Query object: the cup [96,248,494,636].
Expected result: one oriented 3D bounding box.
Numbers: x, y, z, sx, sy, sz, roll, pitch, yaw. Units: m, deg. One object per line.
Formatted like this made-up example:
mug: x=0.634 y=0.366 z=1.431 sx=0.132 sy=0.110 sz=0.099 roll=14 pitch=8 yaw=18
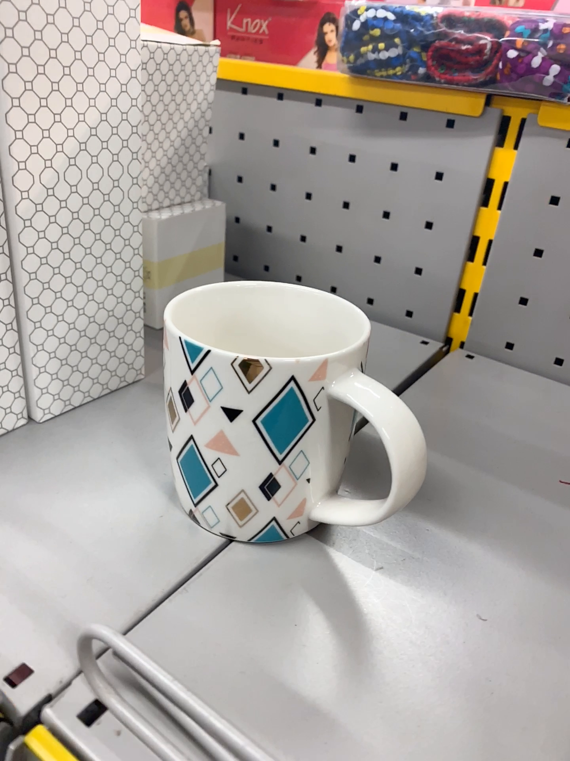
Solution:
cup: x=0.000 y=0.011 z=0.252 sx=0.120 sy=0.090 sz=0.100 roll=27 pitch=35 yaw=32
